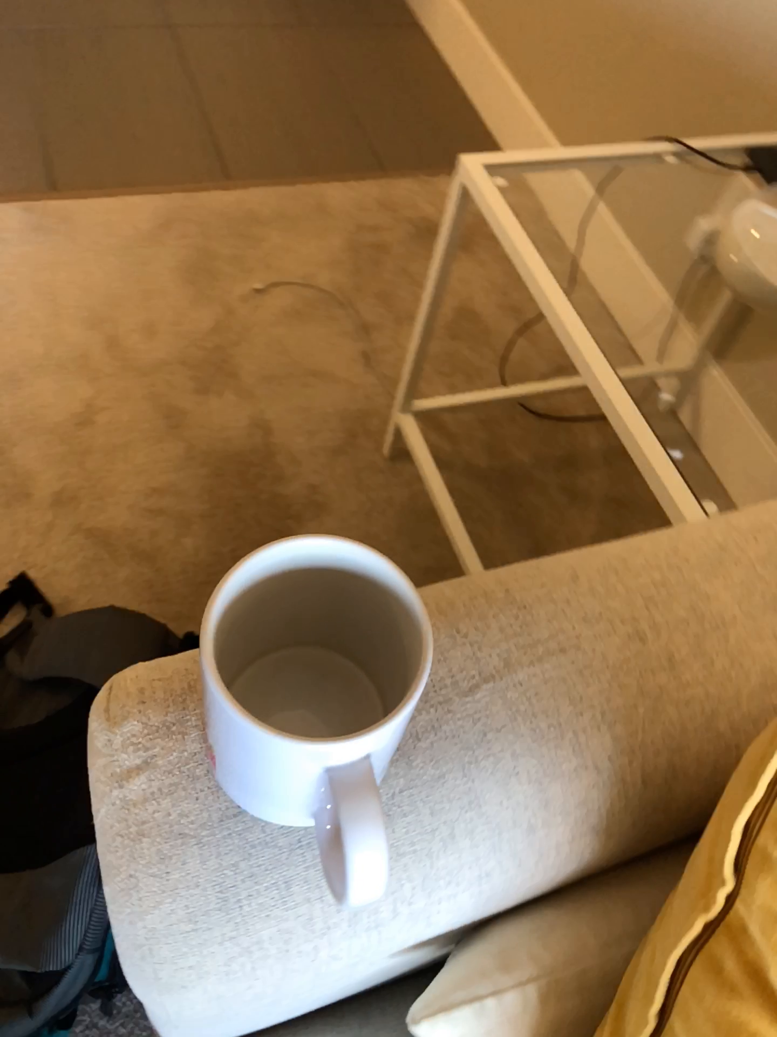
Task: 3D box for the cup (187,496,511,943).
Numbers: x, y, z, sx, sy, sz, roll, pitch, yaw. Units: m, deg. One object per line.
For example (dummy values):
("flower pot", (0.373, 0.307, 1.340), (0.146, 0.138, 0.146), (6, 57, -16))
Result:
("cup", (-0.025, 0.073, 0.319), (0.080, 0.100, 0.120), (-7, 57, -16))
